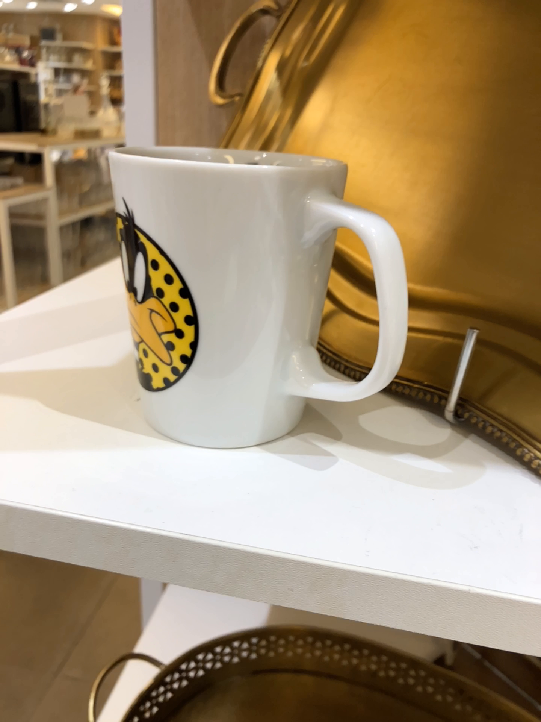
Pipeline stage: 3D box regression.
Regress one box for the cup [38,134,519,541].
[{"bbox_3d":[-0.001,-0.025,0.206,0.120,0.089,0.090,20,28,36],"label":"cup"}]
